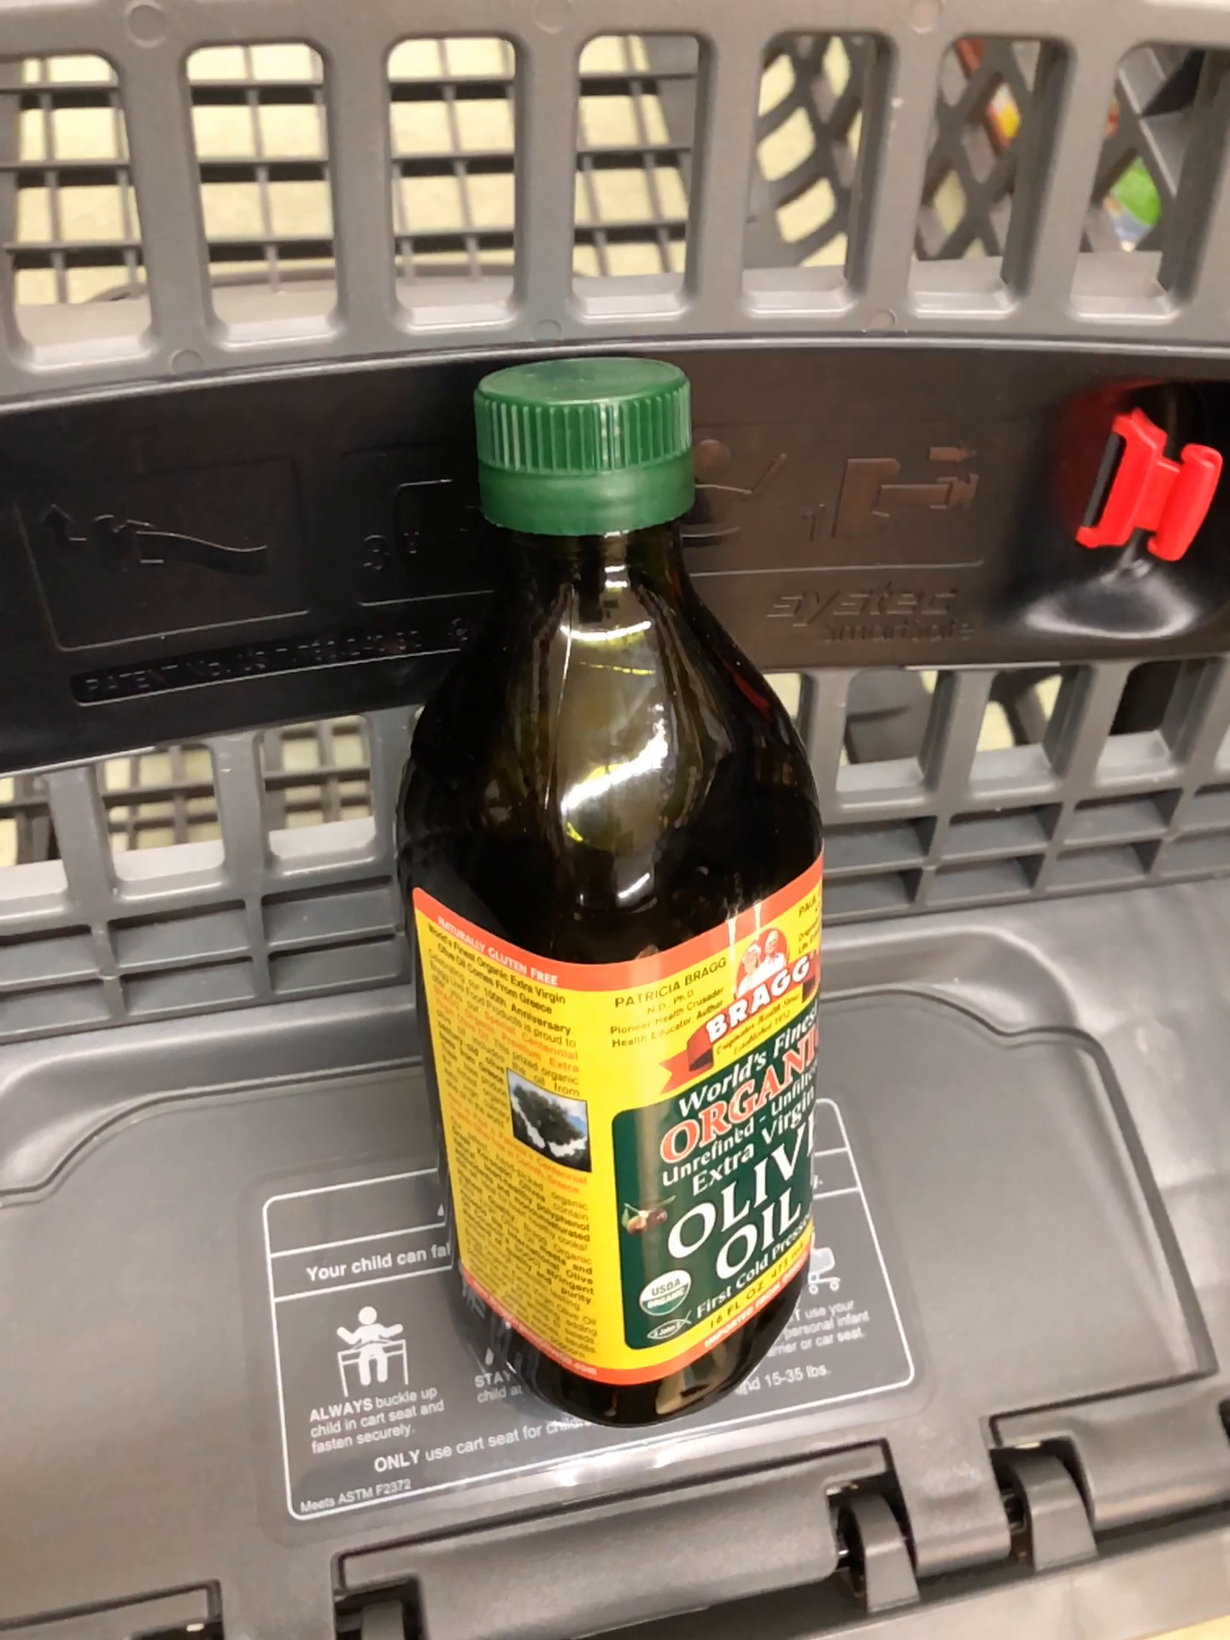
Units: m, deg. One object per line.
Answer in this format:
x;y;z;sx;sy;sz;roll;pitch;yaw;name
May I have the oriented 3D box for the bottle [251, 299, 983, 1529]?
0.002;0.017;0.245;0.080;0.193;0.070;-26;38;-38;bottle
